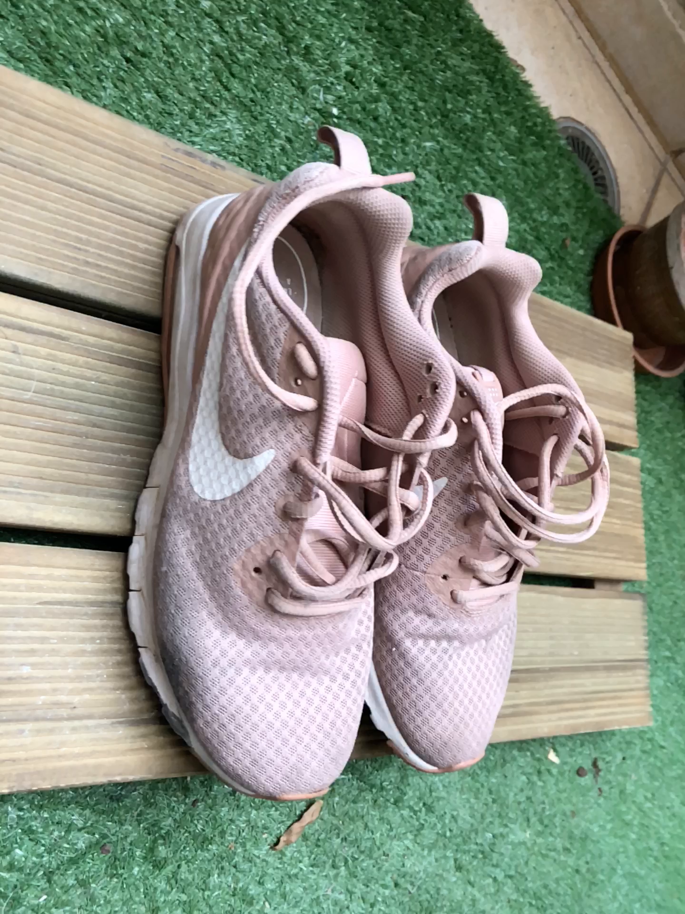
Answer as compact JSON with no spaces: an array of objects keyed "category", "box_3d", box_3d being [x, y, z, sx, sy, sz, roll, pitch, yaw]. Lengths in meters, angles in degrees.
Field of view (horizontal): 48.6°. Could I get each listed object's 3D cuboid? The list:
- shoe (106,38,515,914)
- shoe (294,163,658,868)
[{"category":"shoe","box_3d":[-0.017,0.008,0.285,0.111,0.089,0.260,2,81,-36]},{"category":"shoe","box_3d":[0.057,0.021,0.349,0.111,0.089,0.260,0,83,-36]}]
